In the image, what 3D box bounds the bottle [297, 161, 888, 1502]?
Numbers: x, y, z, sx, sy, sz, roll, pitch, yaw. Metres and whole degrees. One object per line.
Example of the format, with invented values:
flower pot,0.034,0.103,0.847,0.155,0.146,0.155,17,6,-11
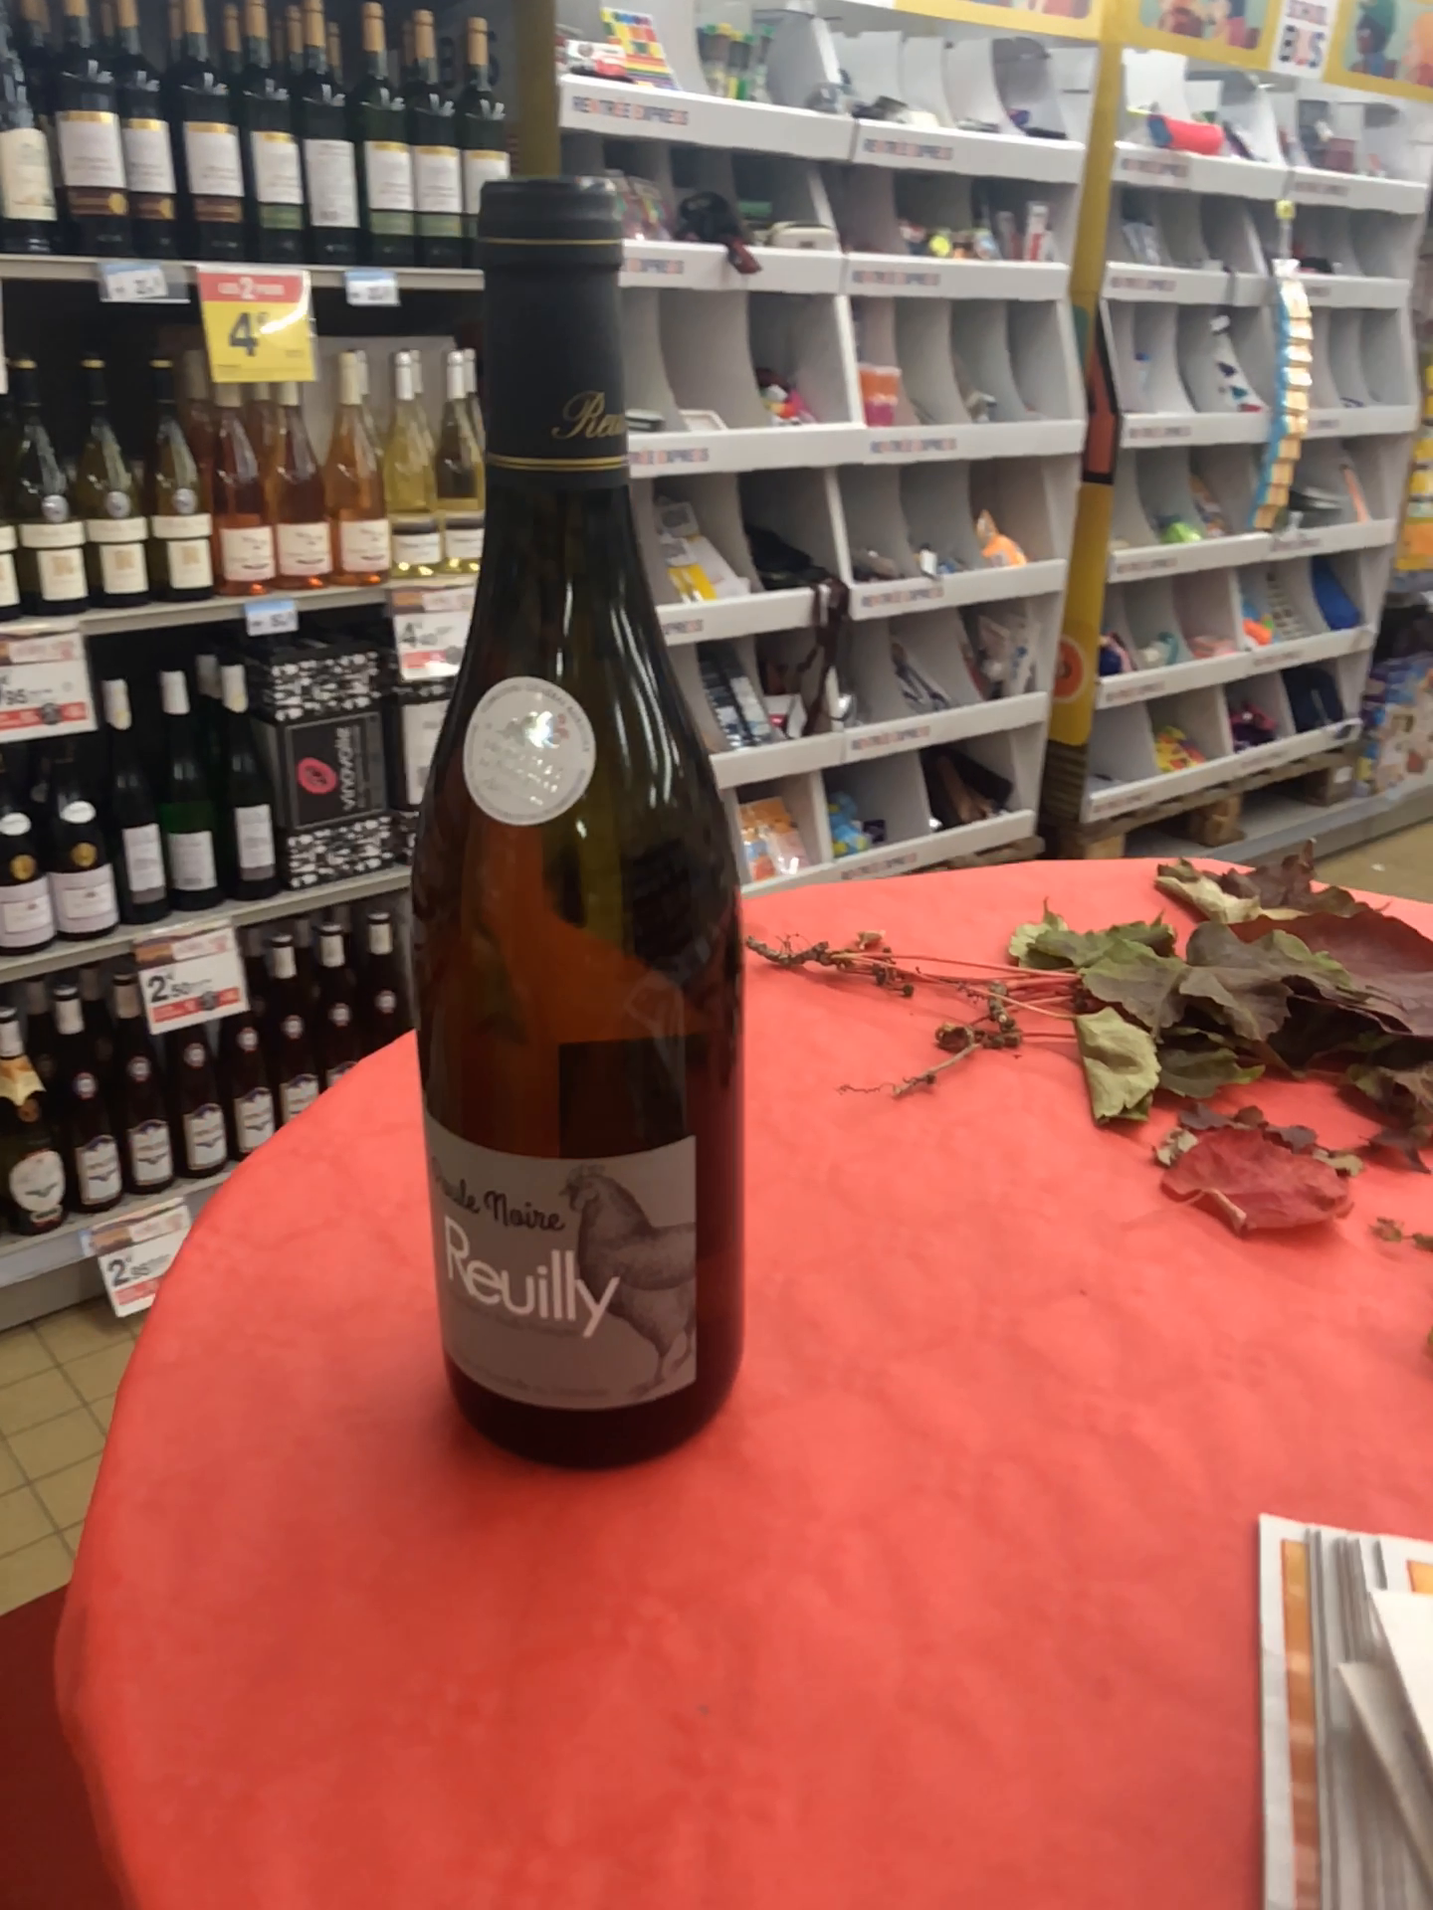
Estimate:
bottle,-0.023,-0.024,0.363,0.090,0.278,0.091,1,22,-1
